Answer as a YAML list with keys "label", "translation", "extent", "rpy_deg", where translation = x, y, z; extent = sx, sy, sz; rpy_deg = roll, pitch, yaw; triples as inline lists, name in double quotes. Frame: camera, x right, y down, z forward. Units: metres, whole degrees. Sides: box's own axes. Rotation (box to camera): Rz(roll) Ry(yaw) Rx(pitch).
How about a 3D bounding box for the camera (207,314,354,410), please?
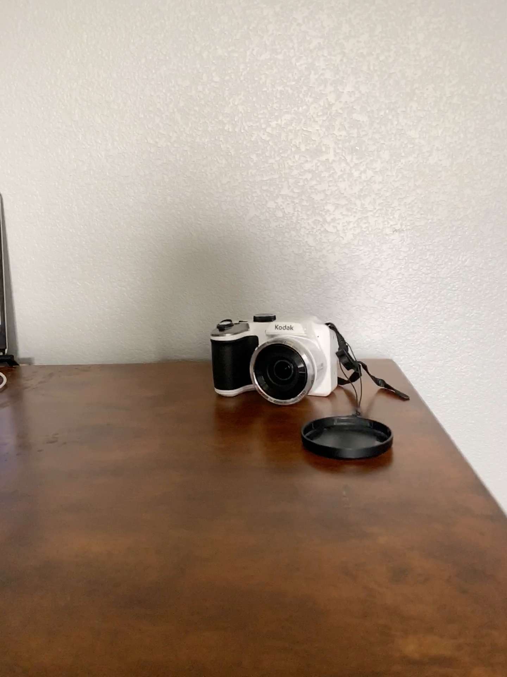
- label: "camera"
  translation: [0.026, 0.017, 0.499]
  extent: [0.119, 0.071, 0.070]
  rpy_deg: [3, 10, 32]
